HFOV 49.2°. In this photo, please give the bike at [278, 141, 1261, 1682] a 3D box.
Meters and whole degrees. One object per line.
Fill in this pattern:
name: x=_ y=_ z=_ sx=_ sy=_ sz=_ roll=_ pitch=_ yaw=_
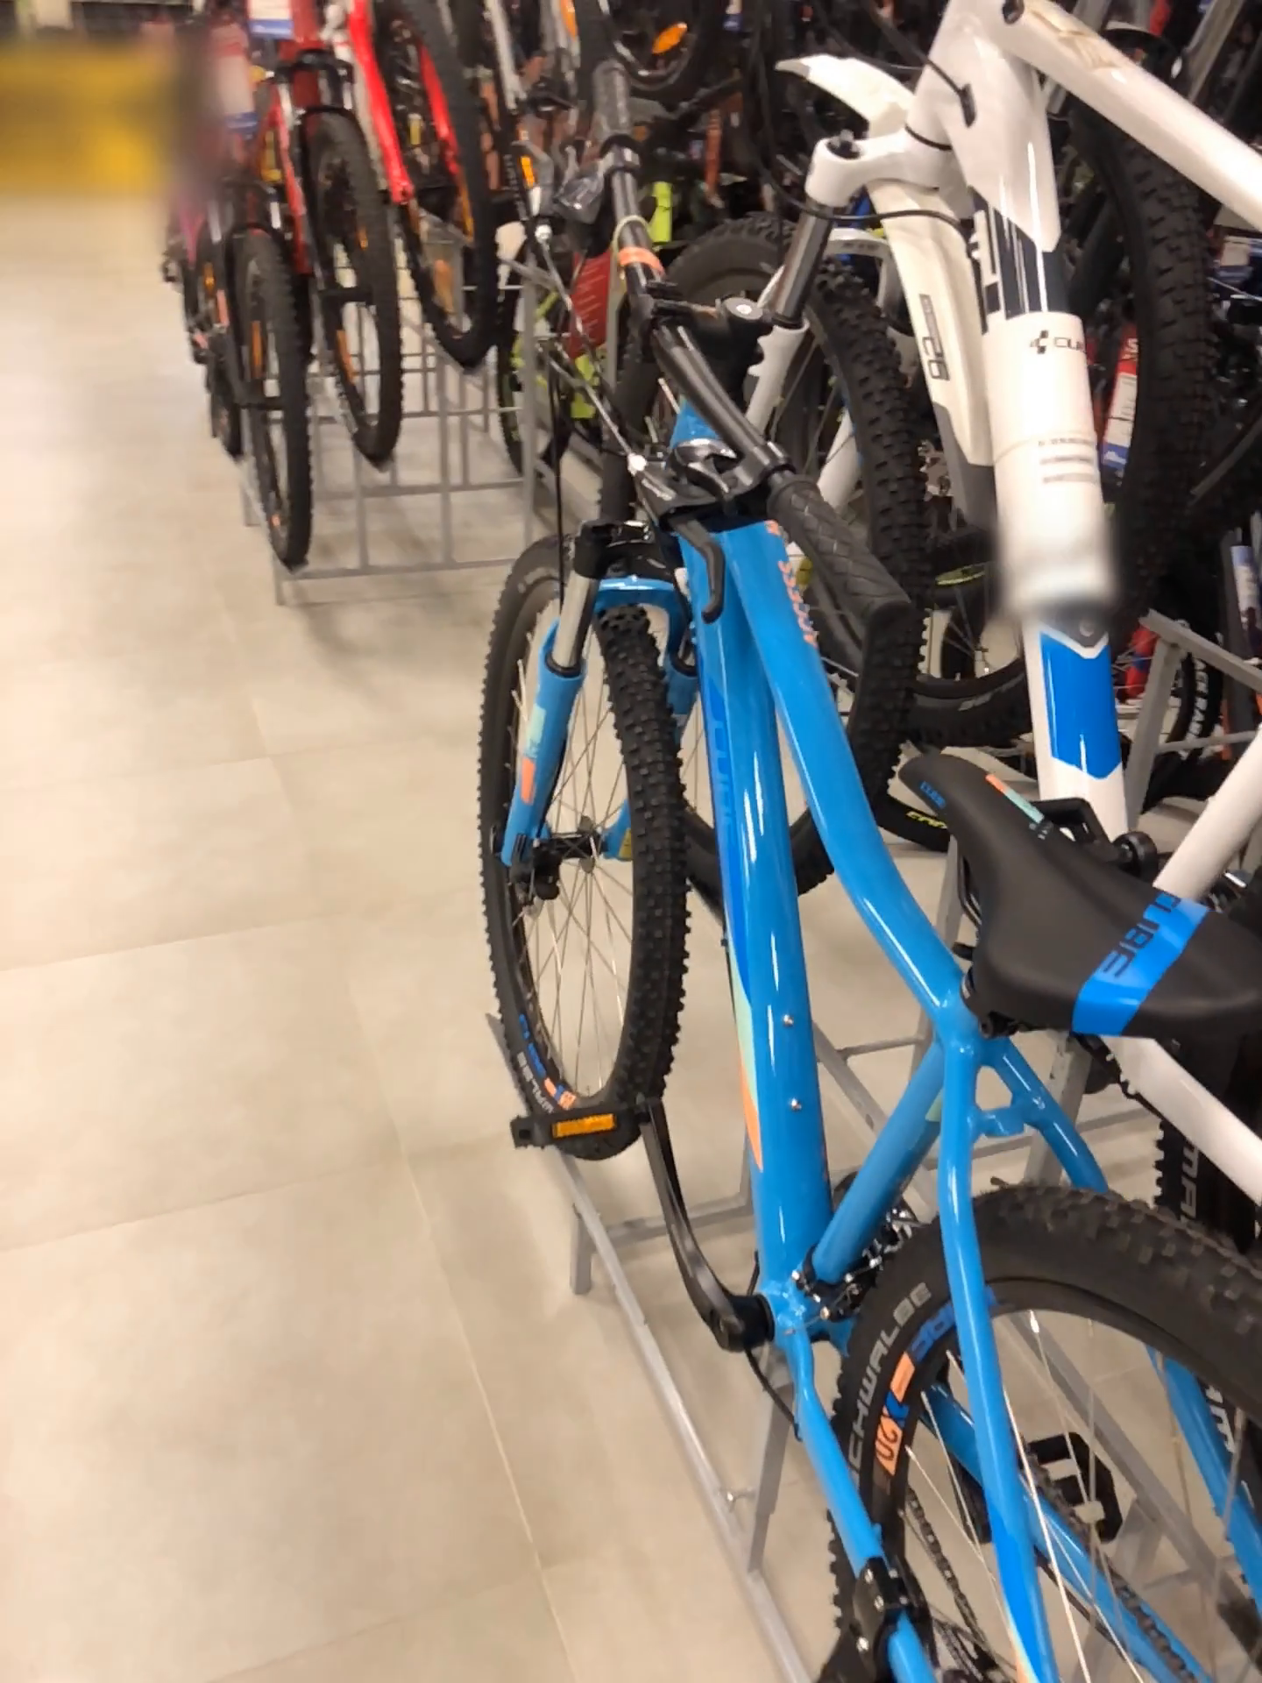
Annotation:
bike: x=0.191 y=0.104 z=1.079 sx=0.630 sy=1.082 sz=1.709 roll=-8 pitch=31 yaw=-19
